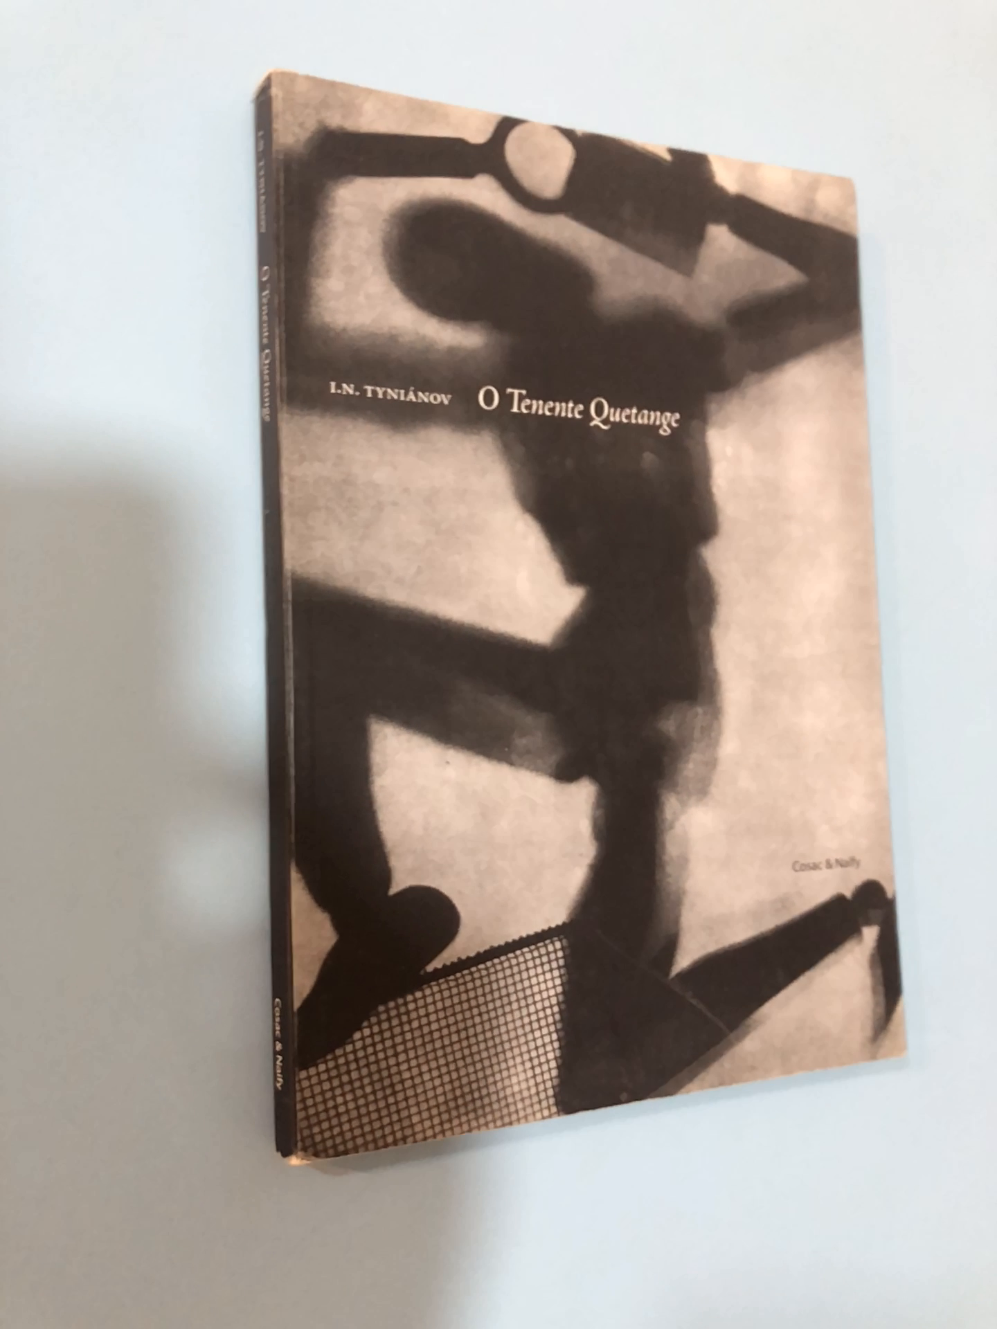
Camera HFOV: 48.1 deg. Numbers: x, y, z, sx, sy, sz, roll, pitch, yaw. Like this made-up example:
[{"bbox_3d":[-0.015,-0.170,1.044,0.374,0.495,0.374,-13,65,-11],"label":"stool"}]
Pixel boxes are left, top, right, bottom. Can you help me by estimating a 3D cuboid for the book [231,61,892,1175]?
[{"bbox_3d":[0.016,-0.011,0.229,0.134,0.016,0.196,0,85,-22],"label":"book"}]
